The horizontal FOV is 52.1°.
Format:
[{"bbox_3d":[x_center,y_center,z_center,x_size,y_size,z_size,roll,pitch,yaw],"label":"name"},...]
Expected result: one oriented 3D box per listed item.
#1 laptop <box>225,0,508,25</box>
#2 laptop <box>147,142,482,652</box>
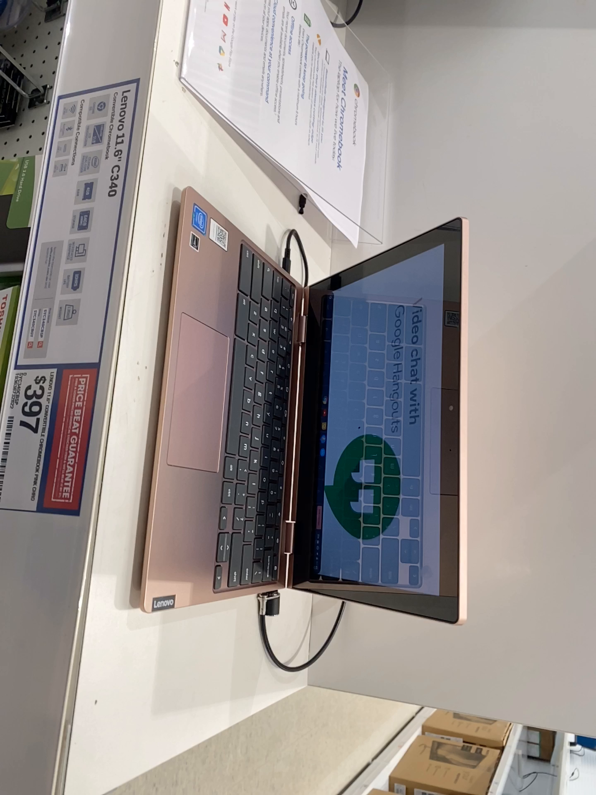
[{"bbox_3d":[0.094,-0.619,0.600,0.266,0.192,0.310,27,65,-64],"label":"laptop"},{"bbox_3d":[0.033,0.012,0.451,0.197,0.168,0.280,25,66,-63],"label":"laptop"}]
